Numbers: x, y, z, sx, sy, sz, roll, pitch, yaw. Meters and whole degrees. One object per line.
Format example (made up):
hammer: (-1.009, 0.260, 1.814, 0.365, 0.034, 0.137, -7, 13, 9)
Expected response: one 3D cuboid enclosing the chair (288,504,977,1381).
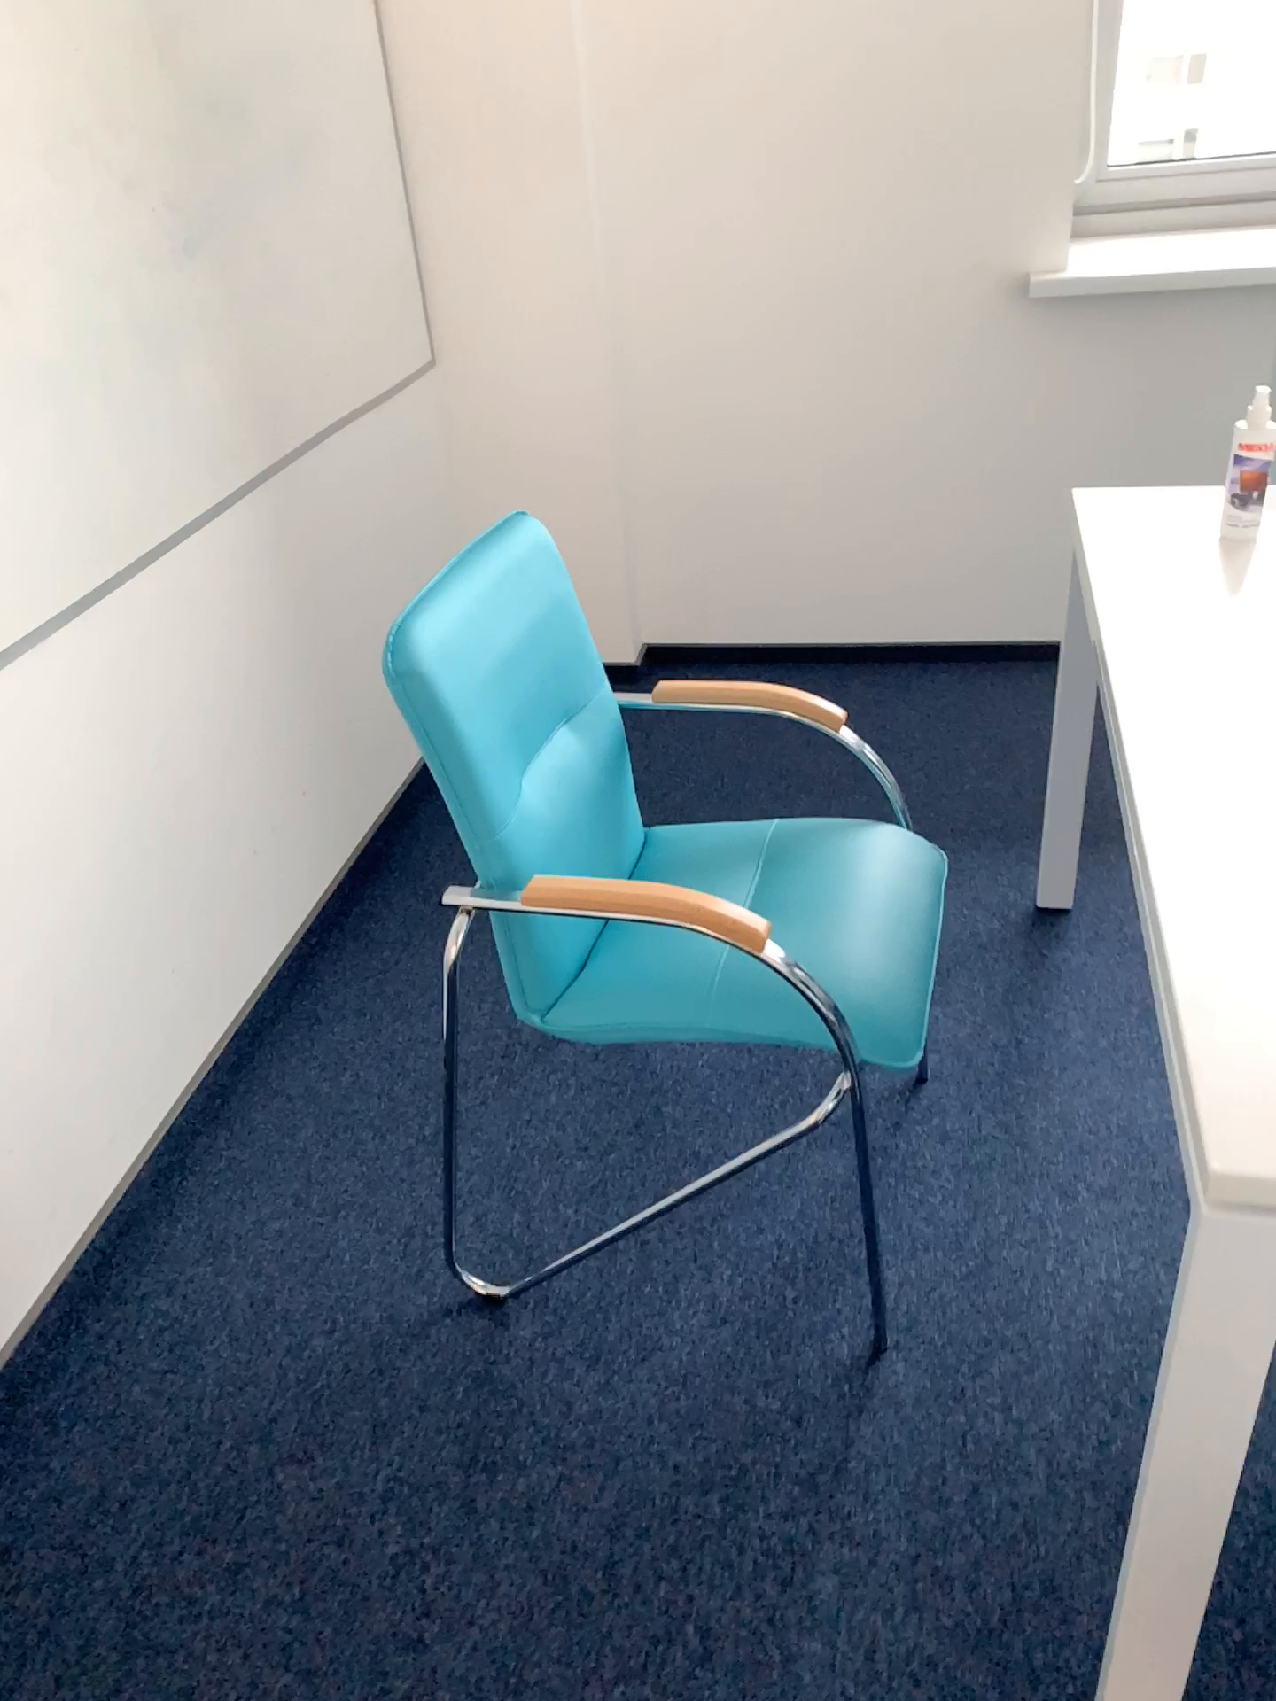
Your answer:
chair: (0.072, 0.093, 1.708, 0.650, 0.925, 0.583, 4, 33, 15)
